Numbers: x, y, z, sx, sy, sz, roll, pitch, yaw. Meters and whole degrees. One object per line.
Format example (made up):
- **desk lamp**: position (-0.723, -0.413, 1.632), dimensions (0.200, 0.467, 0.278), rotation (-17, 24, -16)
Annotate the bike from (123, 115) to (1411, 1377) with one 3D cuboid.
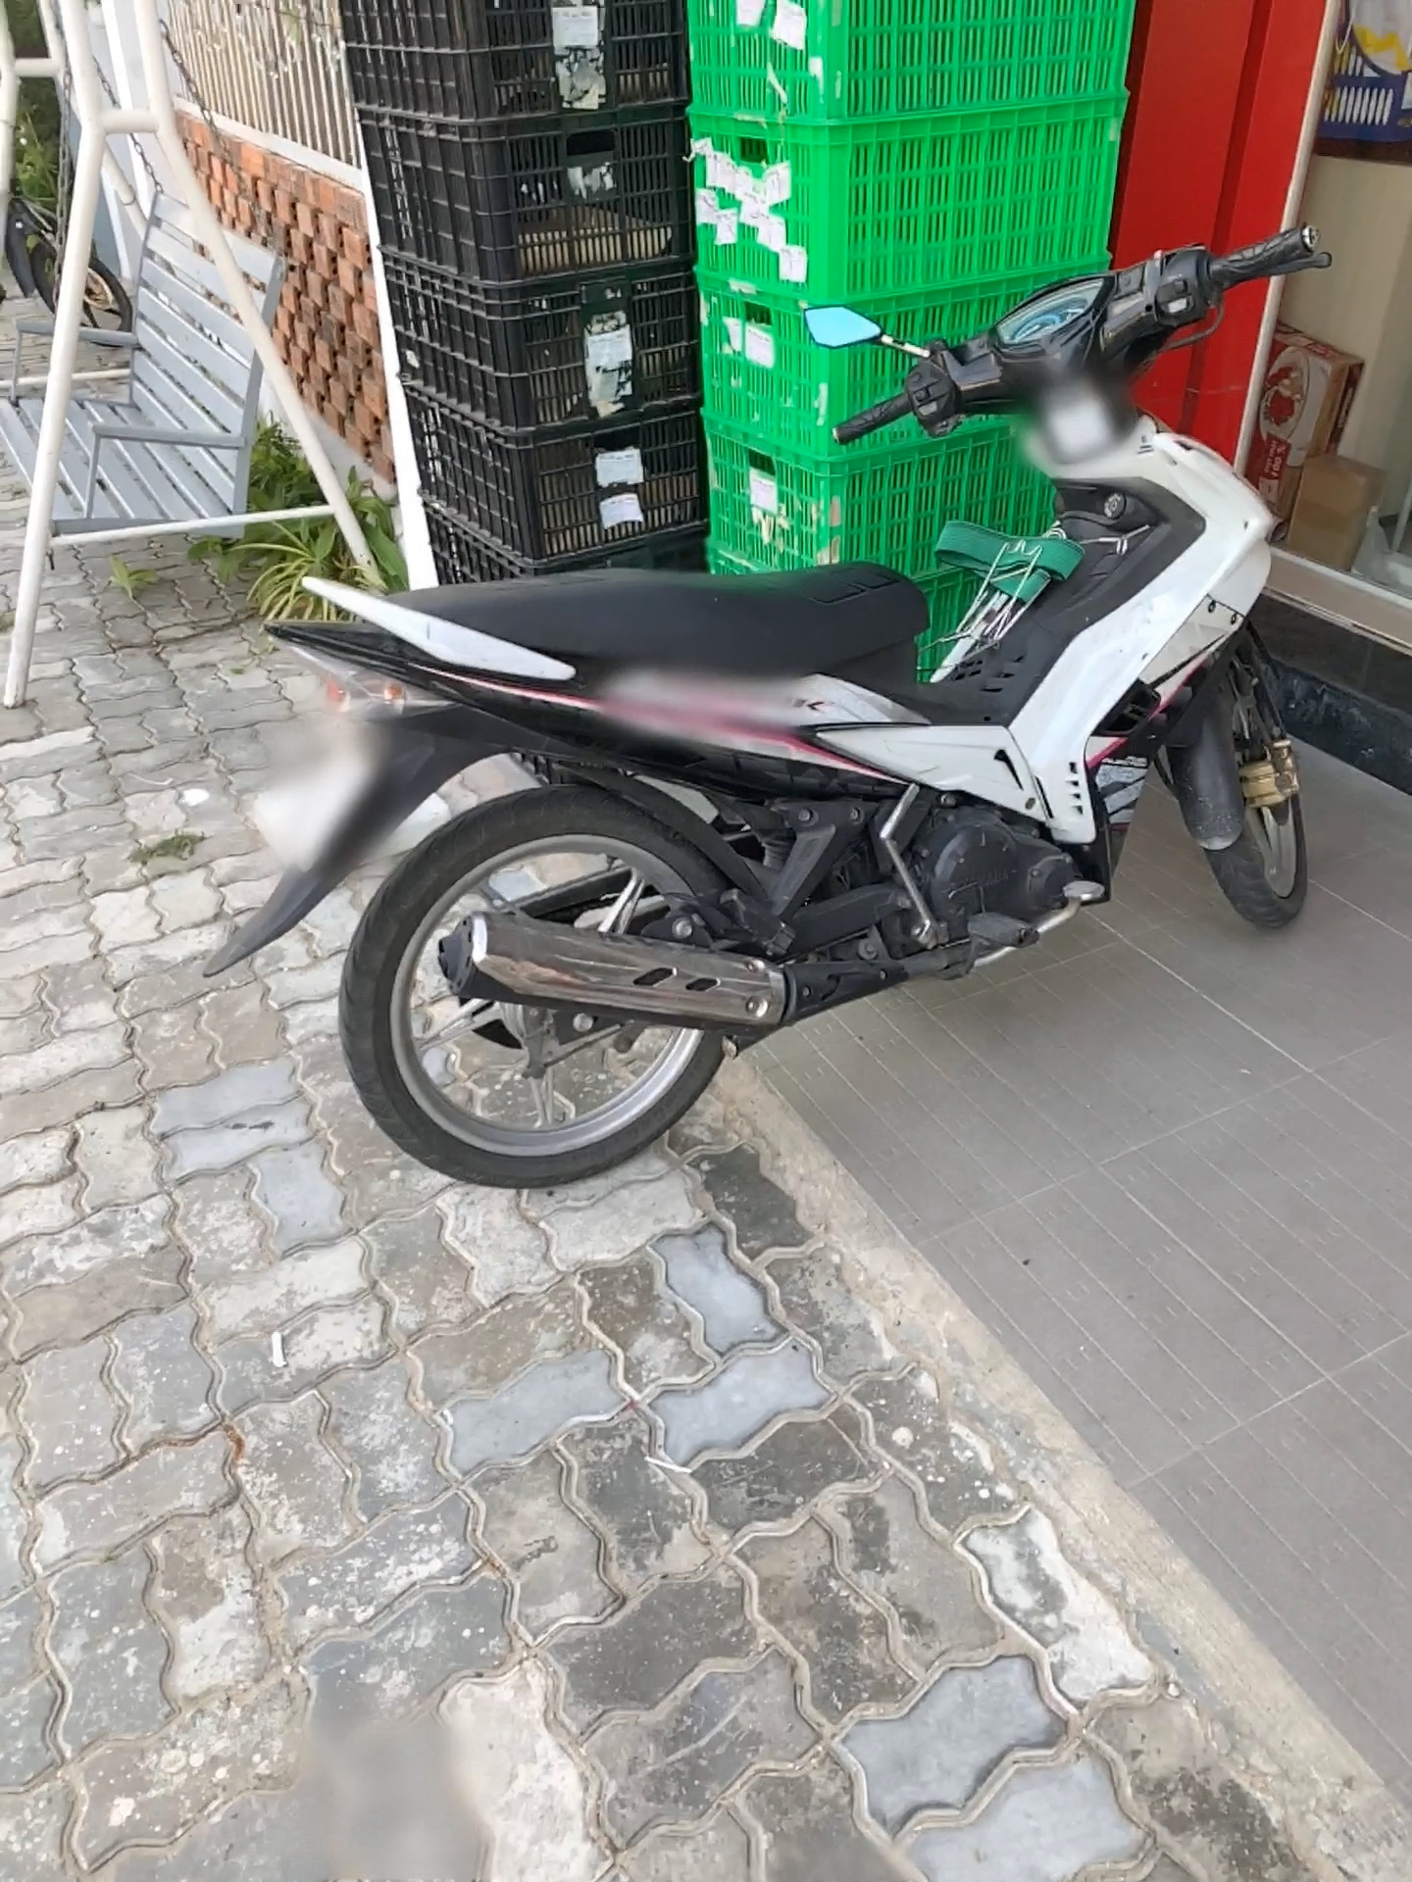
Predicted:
- **bike**: position (0.253, -0.432, 2.125), dimensions (1.816, 1.186, 0.669), rotation (-22, 39, -27)
